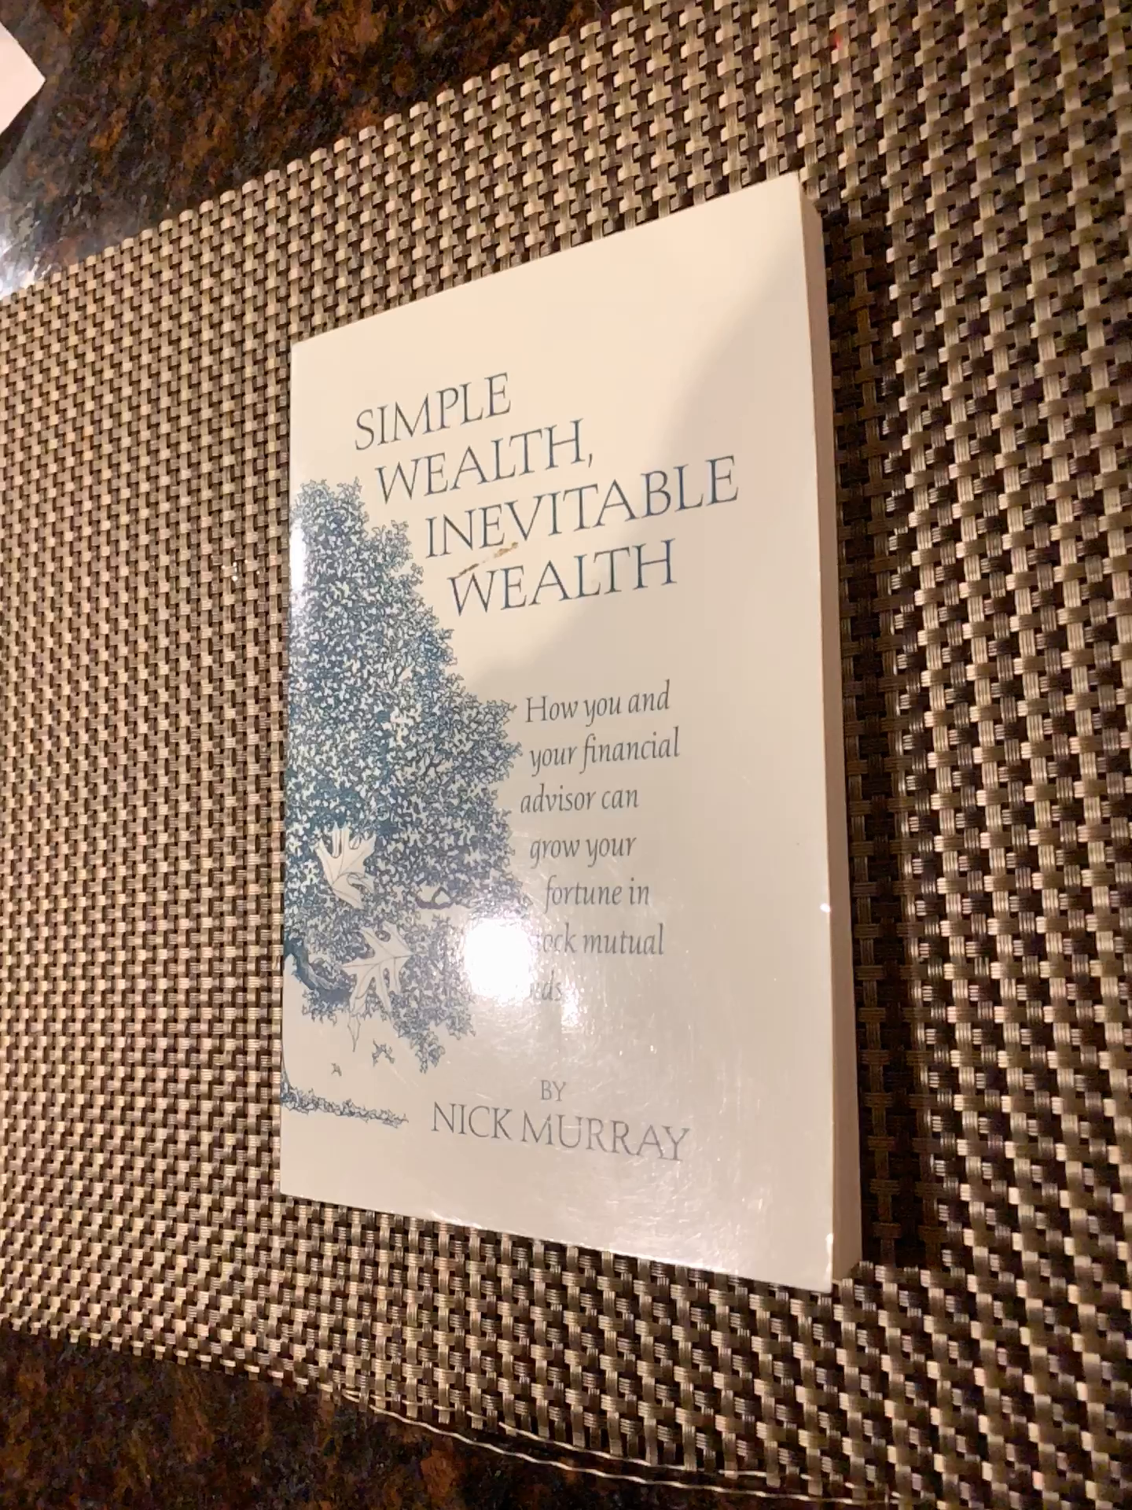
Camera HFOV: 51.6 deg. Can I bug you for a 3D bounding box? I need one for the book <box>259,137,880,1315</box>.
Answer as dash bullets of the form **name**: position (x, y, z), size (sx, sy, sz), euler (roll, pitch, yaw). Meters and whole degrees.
- **book**: position (-0.008, -0.005, 0.254), size (0.141, 0.021, 0.210), euler (-3, 85, 32)
